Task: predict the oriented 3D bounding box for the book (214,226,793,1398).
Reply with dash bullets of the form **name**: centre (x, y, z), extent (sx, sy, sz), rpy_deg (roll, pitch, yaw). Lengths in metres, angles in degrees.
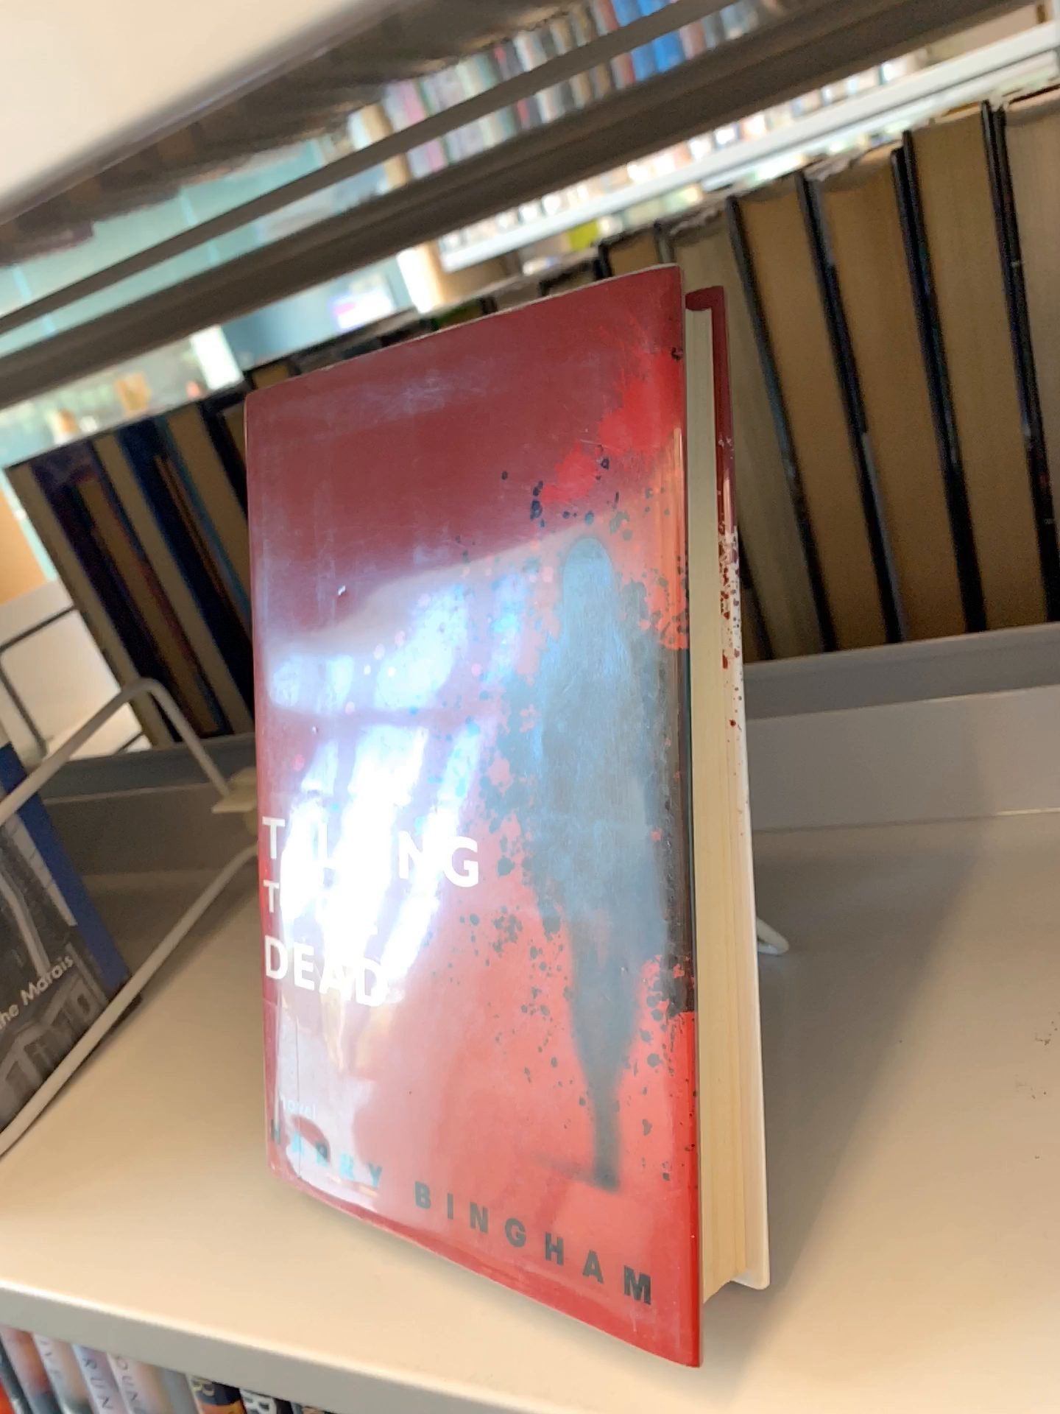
- **book**: centre (-0.018, 0.021, 0.288), extent (0.164, 0.231, 0.040), rpy_deg (-1, -1, 42)
